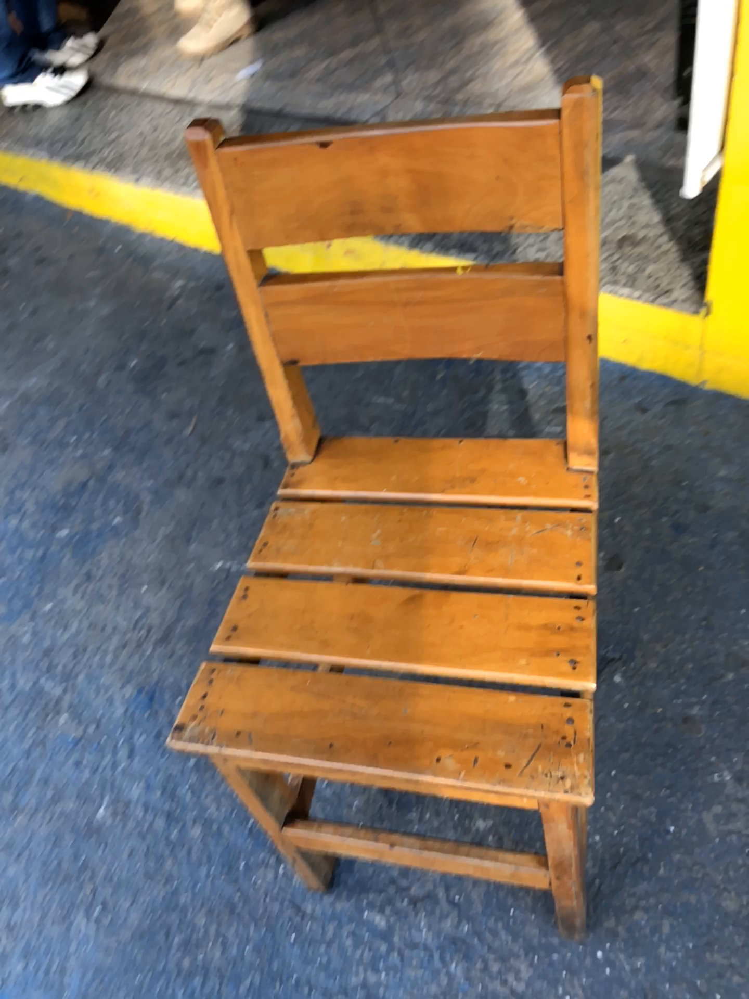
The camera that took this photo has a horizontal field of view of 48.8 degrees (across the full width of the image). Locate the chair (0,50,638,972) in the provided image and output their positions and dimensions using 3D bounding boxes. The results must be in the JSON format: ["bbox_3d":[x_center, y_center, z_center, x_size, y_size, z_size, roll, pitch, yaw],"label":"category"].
[{"bbox_3d":[0.034,0.087,0.828,0.400,0.805,0.442,2,49,17],"label":"chair"}]
